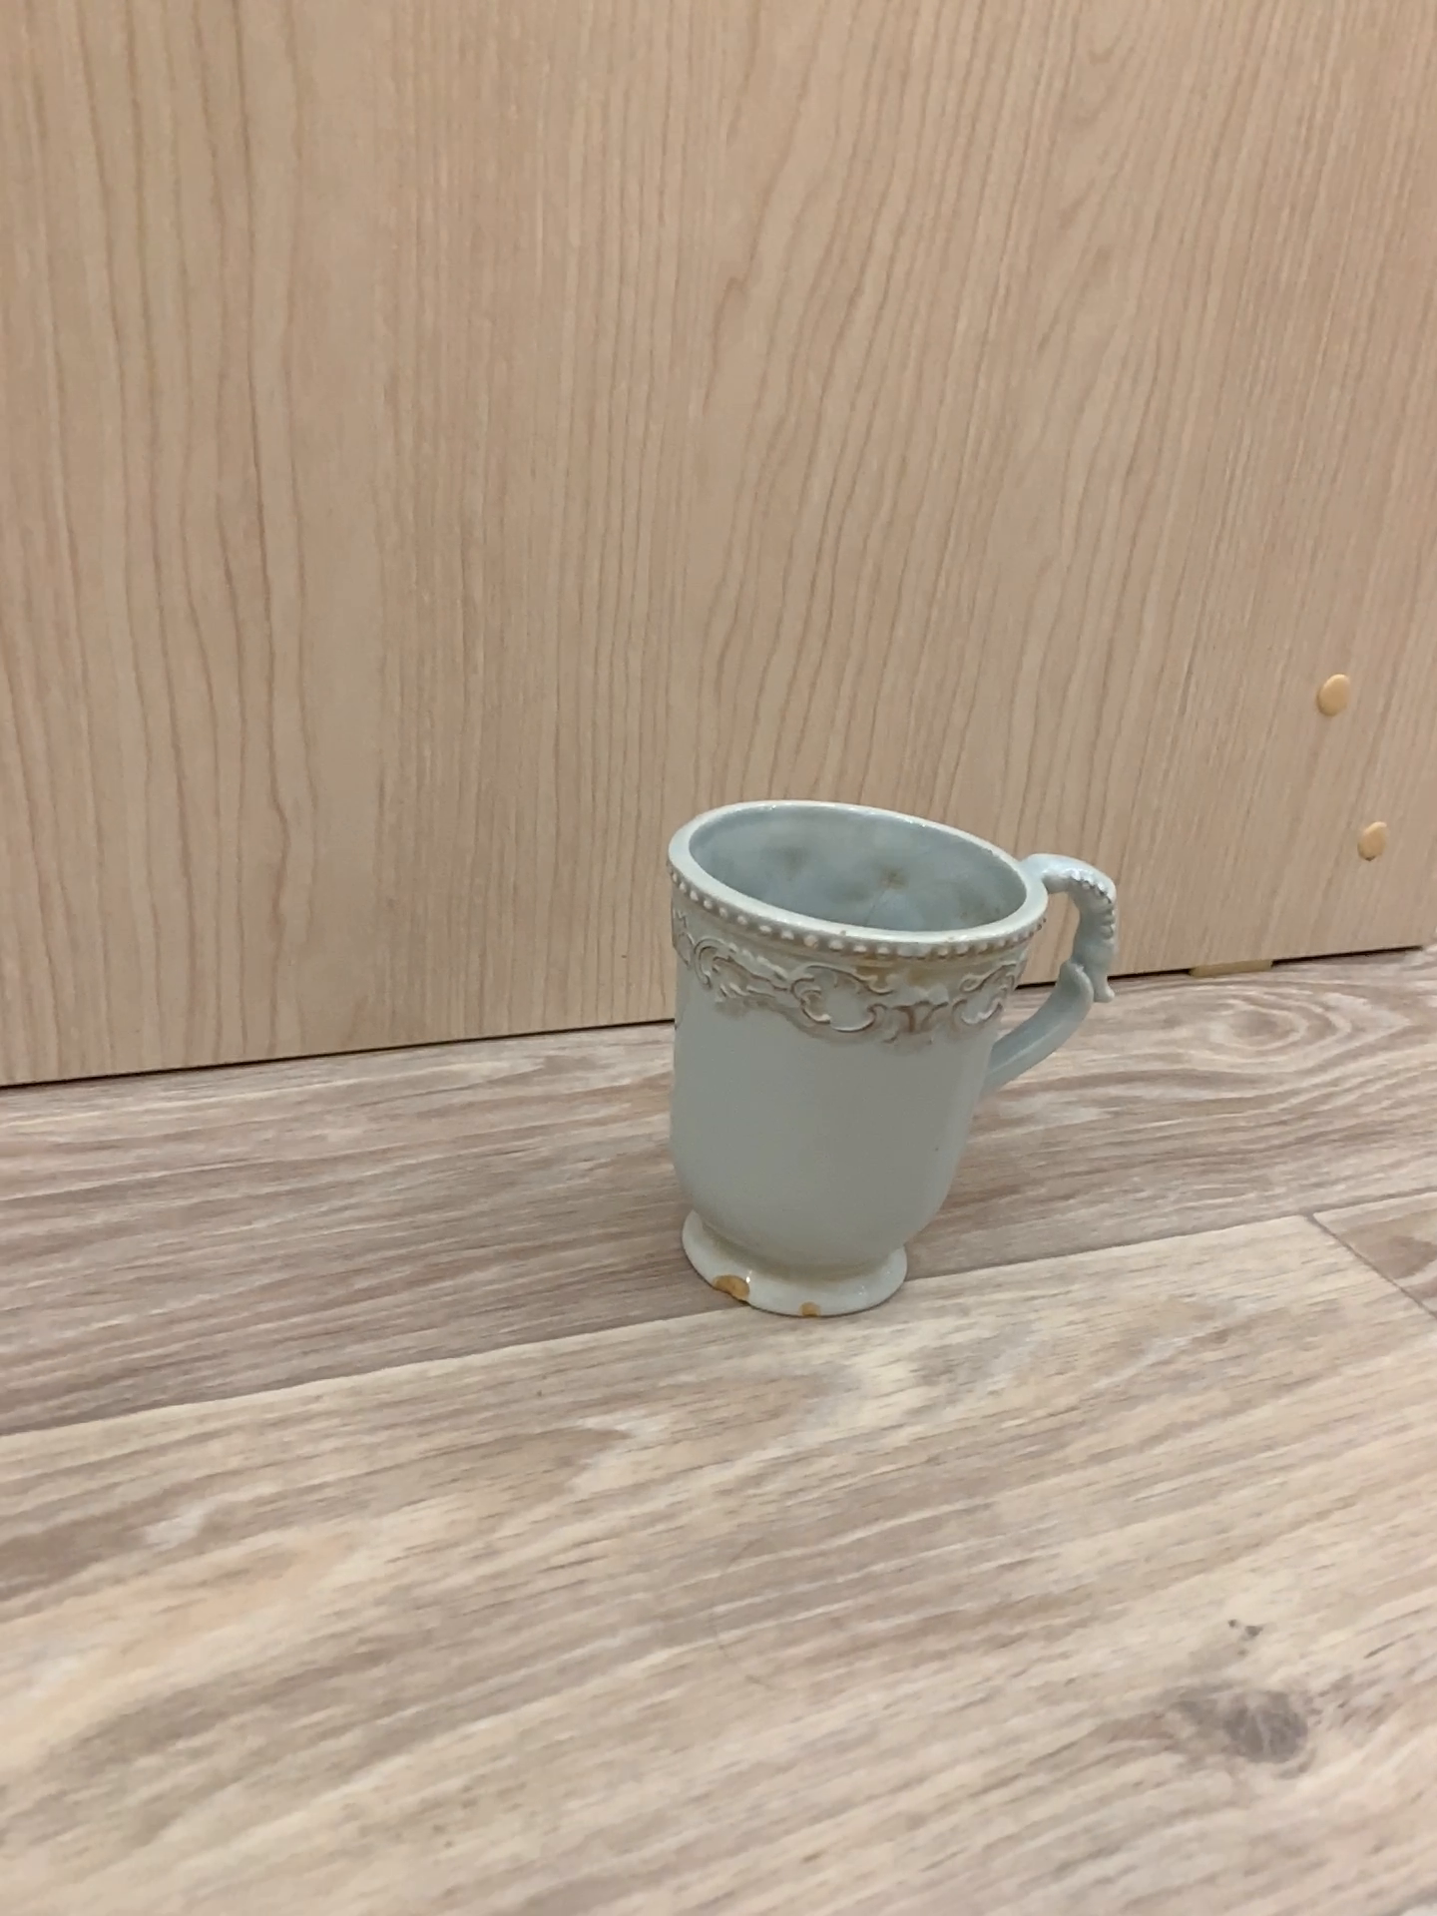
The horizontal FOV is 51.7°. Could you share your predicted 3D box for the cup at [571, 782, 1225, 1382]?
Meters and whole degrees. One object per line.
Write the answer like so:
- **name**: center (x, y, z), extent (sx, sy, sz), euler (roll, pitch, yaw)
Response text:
- **cup**: center (0.038, 0.022, 0.360), extent (0.118, 0.102, 0.083), euler (-7, 27, -29)
